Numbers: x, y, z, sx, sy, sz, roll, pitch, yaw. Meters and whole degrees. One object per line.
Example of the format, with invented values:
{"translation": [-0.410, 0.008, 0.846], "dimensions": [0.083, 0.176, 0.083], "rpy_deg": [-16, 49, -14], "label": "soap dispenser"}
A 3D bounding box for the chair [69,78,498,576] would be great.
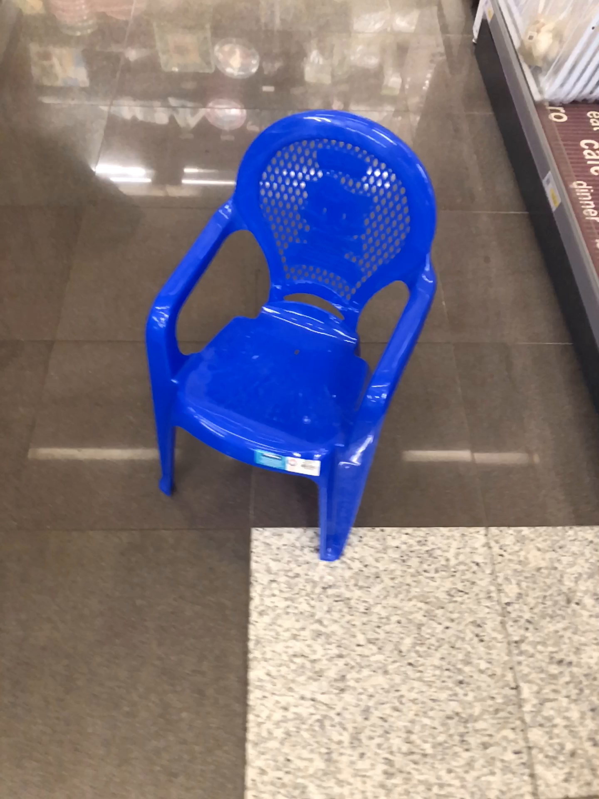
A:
{"translation": [-0.004, -0.080, 0.958], "dimensions": [0.350, 0.507, 0.402], "rpy_deg": [22, 58, 12], "label": "chair"}
